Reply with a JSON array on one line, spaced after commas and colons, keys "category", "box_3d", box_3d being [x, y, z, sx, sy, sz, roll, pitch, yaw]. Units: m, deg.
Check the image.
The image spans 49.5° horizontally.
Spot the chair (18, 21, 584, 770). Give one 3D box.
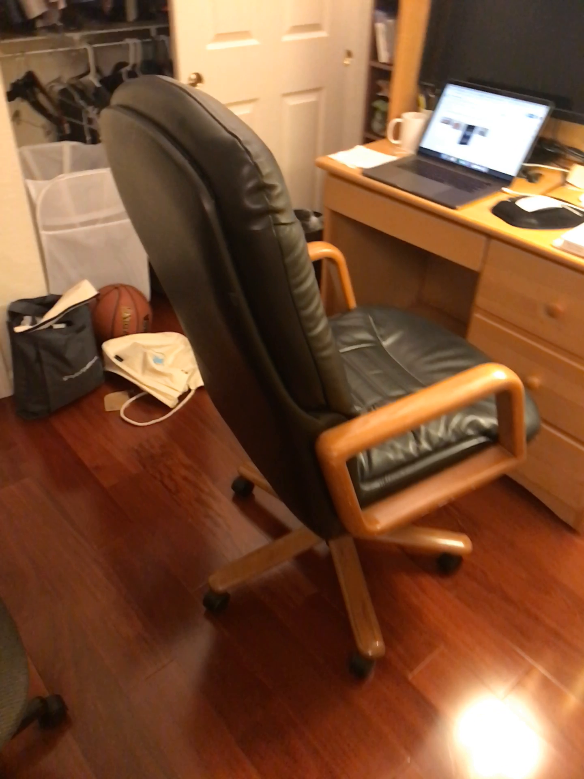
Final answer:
[{"category": "chair", "box_3d": [0.040, -0.088, 1.424, 0.853, 1.141, 0.995, -16, 41, -23]}]
